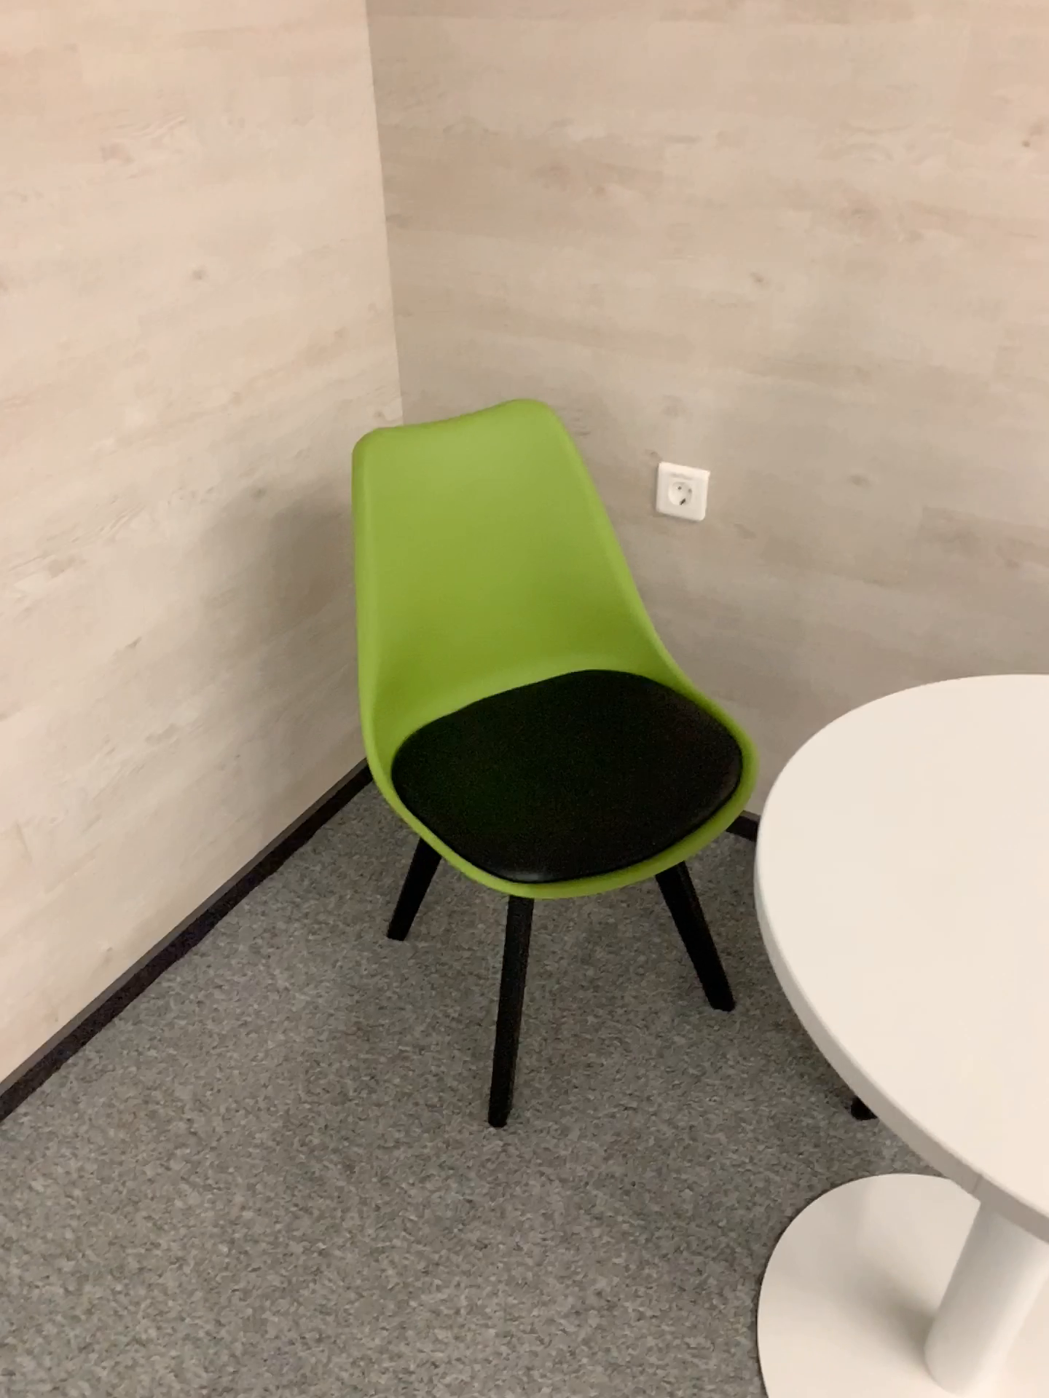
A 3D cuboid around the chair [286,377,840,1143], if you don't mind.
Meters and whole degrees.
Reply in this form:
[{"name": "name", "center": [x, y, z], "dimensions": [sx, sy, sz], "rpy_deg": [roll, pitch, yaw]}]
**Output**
[{"name": "chair", "center": [0.035, 0.078, 1.528], "dimensions": [0.491, 0.865, 0.482], "rpy_deg": [-18, 38, -23]}]
